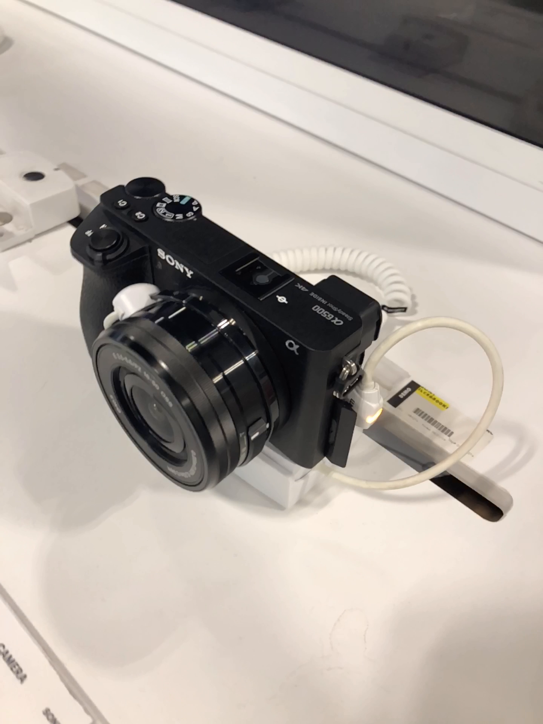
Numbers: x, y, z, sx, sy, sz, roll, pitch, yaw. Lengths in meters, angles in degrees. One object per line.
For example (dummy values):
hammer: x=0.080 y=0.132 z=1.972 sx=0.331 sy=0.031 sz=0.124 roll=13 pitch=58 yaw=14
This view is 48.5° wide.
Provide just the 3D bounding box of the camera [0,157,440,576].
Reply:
camera: x=-0.025 y=-0.007 z=0.226 sx=0.140 sy=0.070 sz=0.070 roll=35 pitch=52 yaw=24
